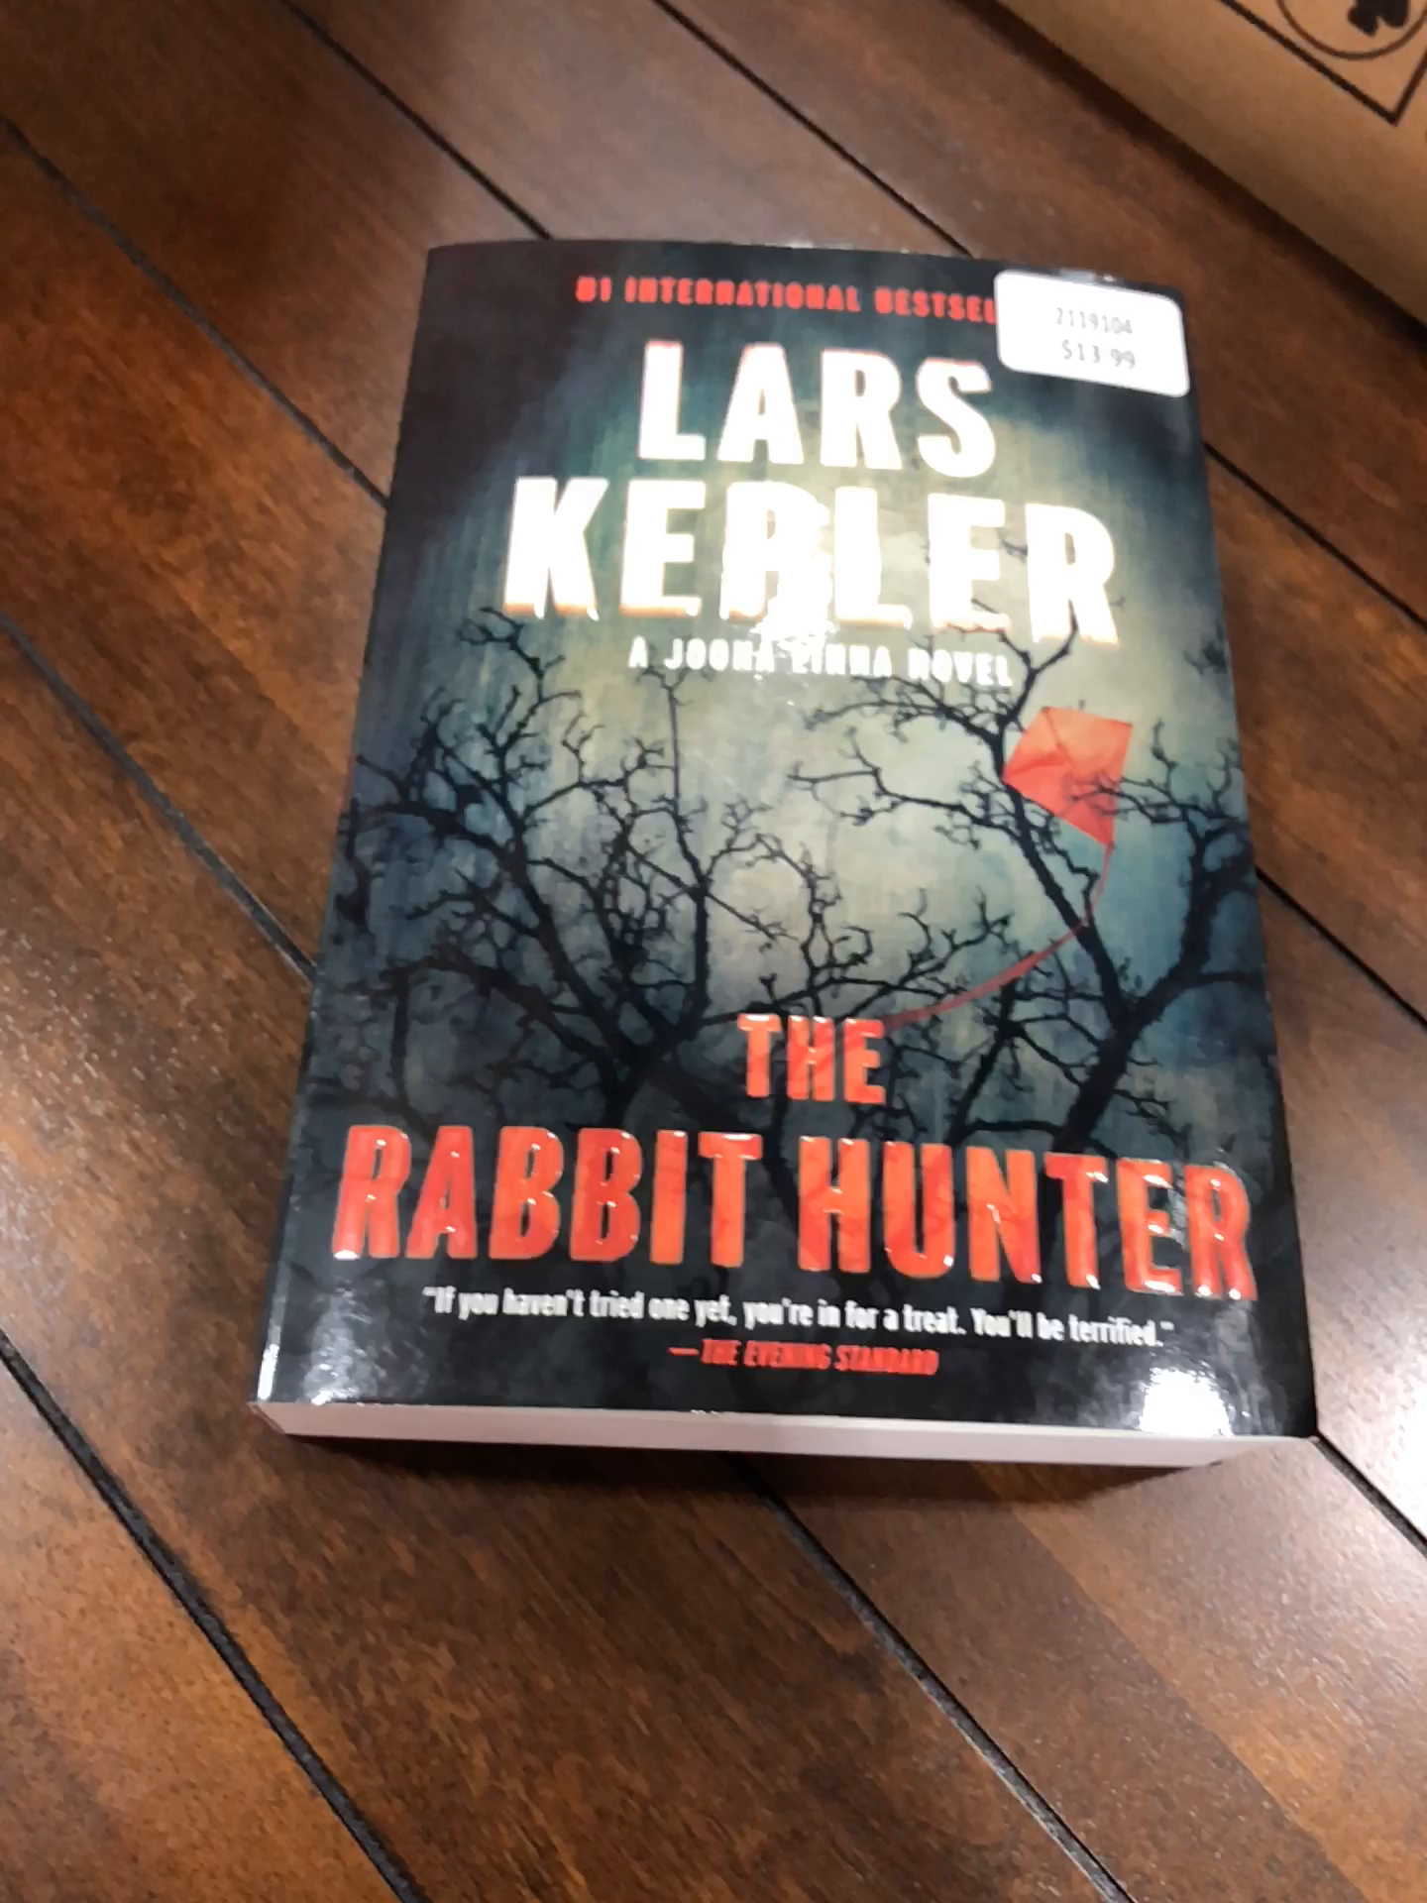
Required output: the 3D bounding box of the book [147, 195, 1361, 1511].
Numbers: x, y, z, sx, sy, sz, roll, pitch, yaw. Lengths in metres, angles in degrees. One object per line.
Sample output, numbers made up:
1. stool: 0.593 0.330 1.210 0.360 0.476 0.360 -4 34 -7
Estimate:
1. book: 0.009 -0.026 0.277 0.159 0.046 0.222 4 65 -4
